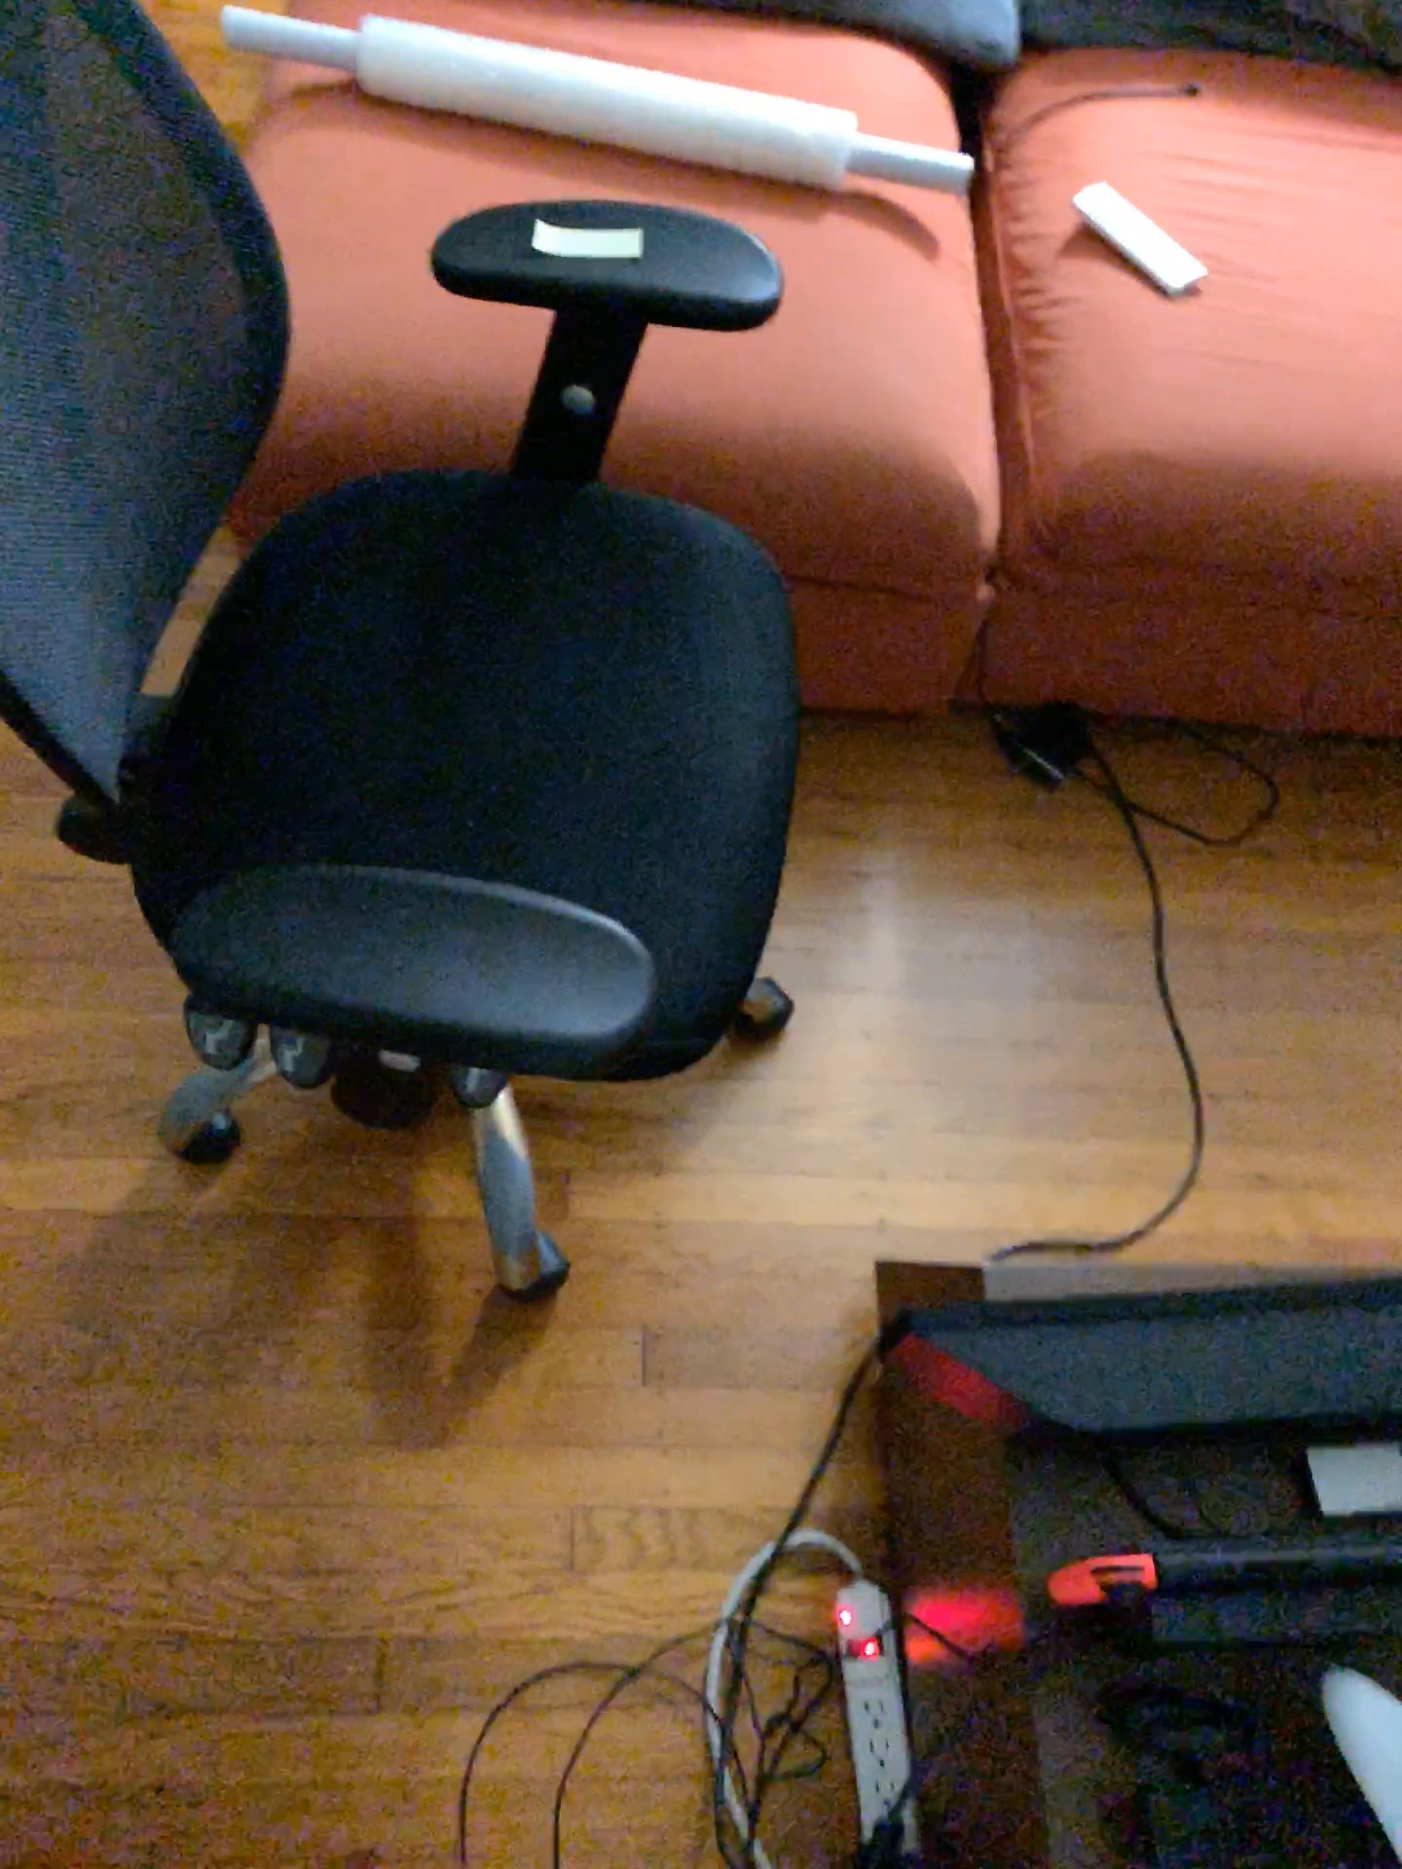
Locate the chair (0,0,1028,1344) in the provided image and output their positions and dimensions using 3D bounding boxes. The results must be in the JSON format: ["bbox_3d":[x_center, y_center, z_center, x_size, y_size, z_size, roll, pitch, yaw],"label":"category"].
[{"bbox_3d":[-0.217,-0.208,1.031,0.660,0.976,0.642,9,60,3],"label":"chair"}]
